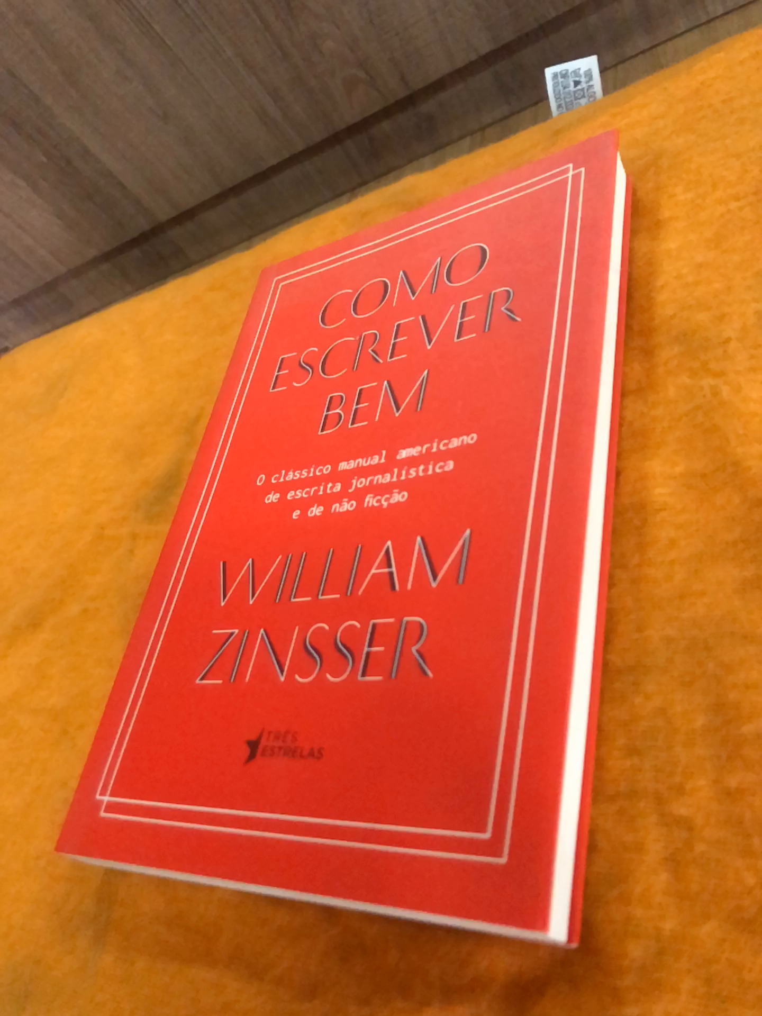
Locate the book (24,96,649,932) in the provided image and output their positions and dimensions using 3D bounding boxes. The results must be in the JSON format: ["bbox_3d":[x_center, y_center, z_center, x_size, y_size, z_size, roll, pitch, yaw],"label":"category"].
[{"bbox_3d":[-0.007,-0.009,0.221,0.140,0.020,0.196,-9,55,35],"label":"book"}]
